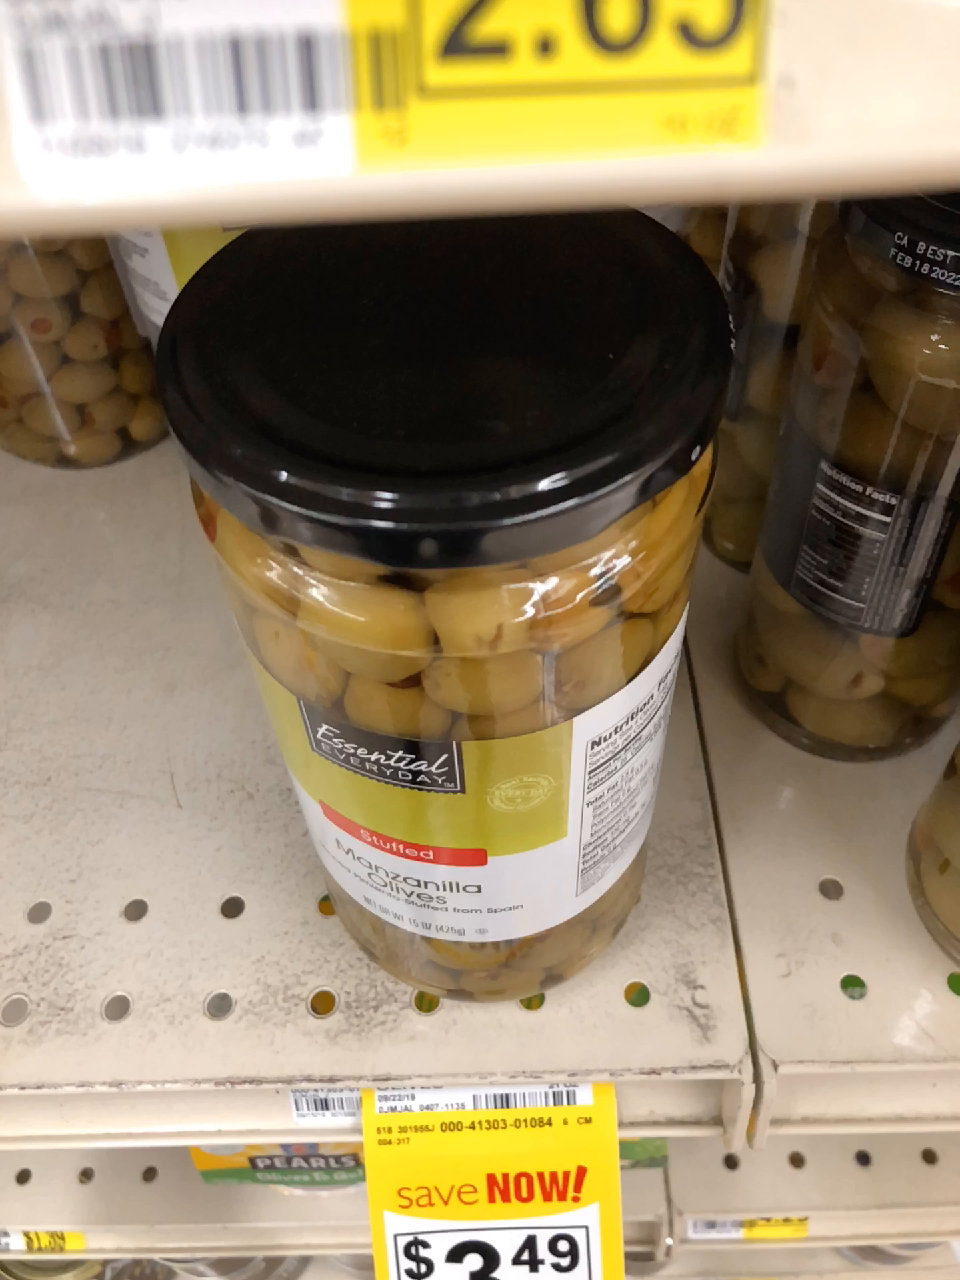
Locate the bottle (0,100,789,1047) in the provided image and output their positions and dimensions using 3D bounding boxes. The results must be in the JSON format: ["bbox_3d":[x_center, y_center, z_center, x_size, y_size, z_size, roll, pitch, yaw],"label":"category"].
[{"bbox_3d":[-0.004,0.004,0.200,0.080,0.163,0.070,14,55,13],"label":"bottle"}]
